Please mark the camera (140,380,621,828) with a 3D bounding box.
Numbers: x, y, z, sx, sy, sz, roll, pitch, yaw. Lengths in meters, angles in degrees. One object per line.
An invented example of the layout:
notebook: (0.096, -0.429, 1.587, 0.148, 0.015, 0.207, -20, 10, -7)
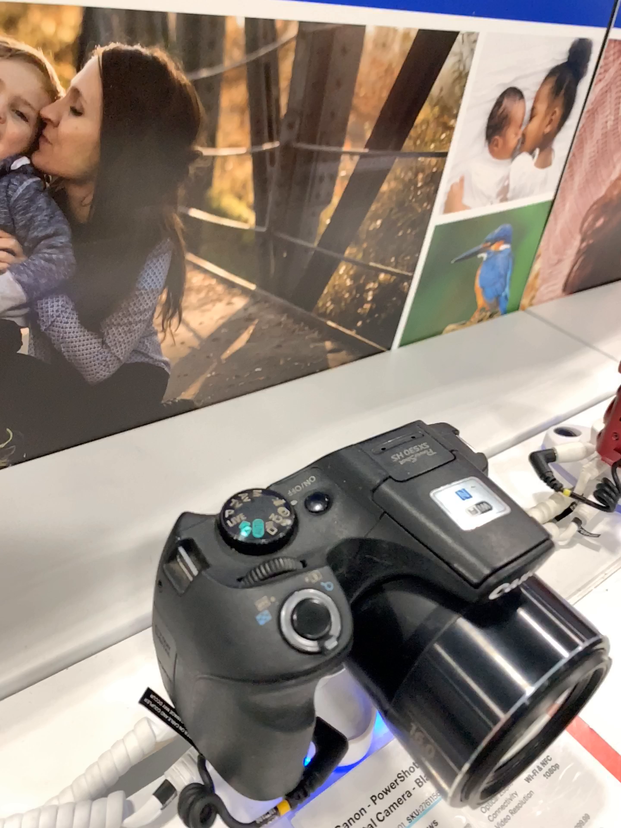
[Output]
camera: (0.030, 0.060, 0.187, 0.124, 0.080, 0.090, -20, 42, -36)
